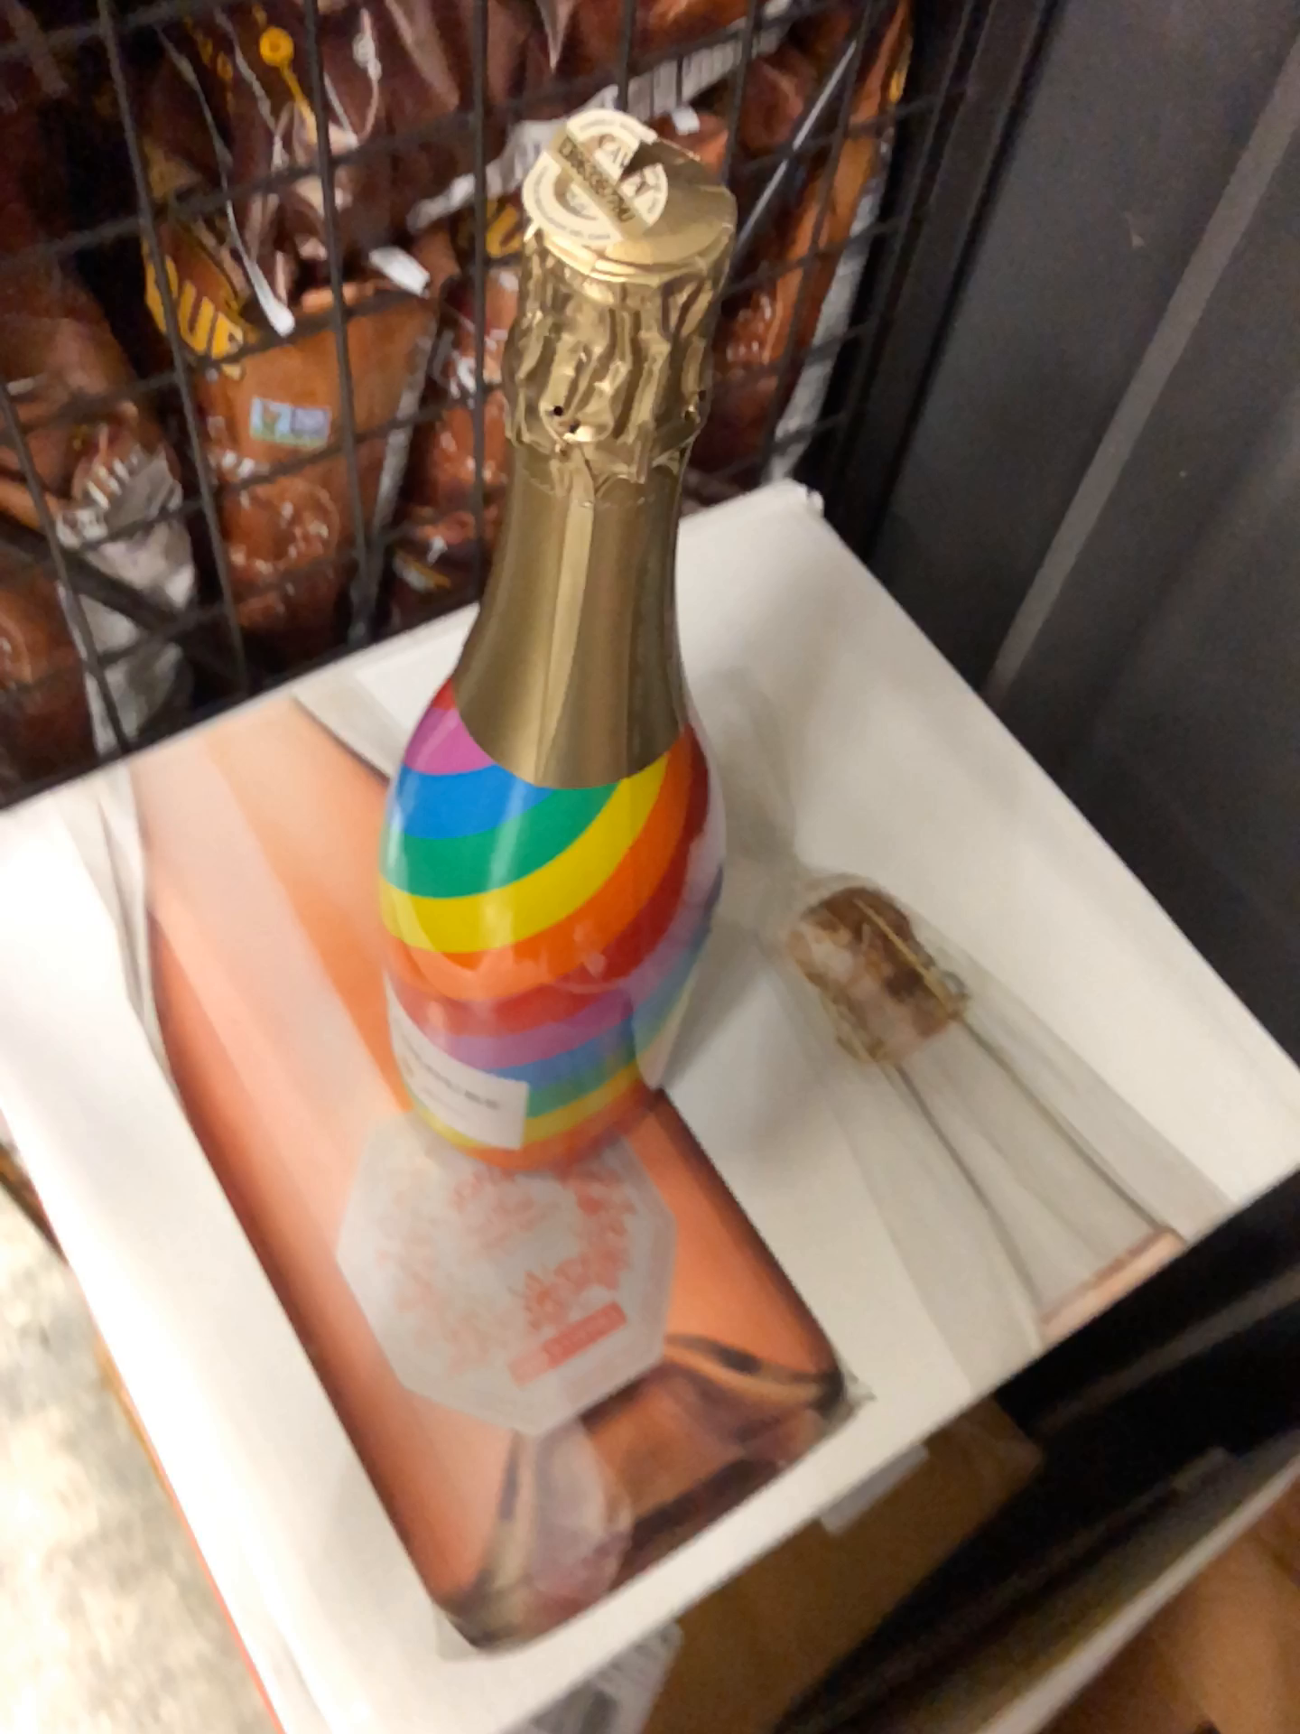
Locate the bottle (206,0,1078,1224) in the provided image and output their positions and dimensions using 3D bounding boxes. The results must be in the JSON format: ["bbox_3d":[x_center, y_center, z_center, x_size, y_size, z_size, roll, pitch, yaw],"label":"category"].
[{"bbox_3d":[-0.019,-0.026,0.333,0.088,0.320,0.088,3,58,-5],"label":"bottle"}]
